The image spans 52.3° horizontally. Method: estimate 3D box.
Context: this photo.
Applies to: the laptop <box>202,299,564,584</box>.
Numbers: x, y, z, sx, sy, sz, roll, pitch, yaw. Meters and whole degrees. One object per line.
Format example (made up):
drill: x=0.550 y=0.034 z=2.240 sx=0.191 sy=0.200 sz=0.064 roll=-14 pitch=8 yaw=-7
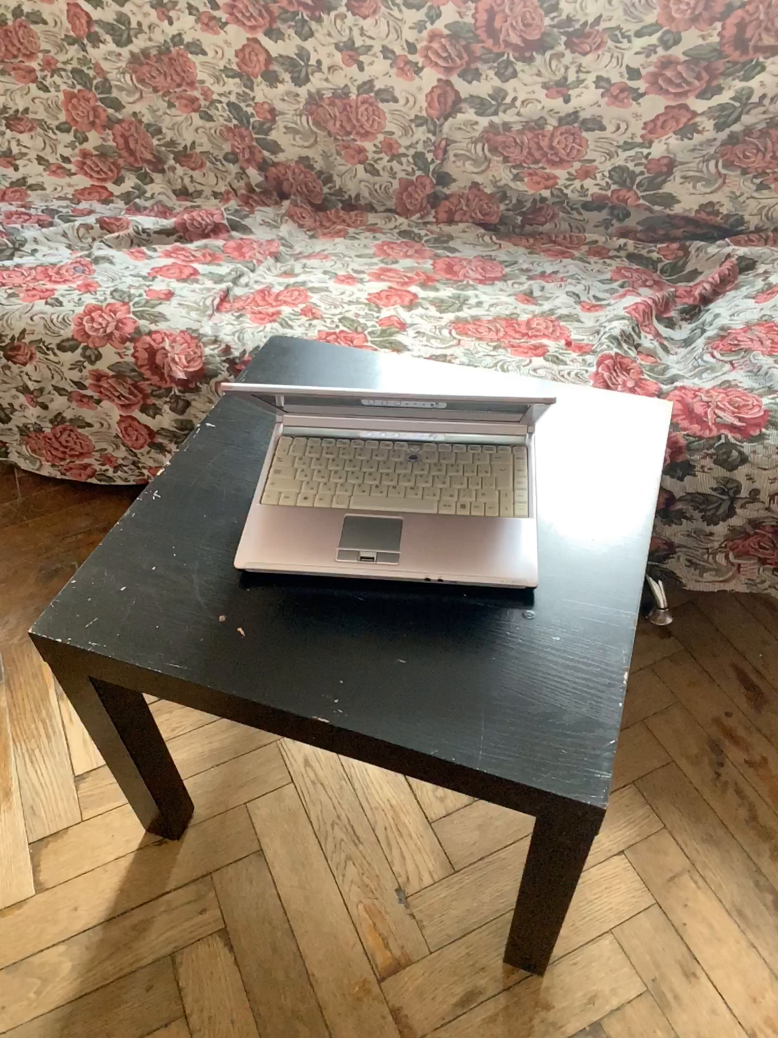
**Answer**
laptop: x=0.004 y=-0.084 z=0.793 sx=0.305 sy=0.156 sz=0.227 roll=3 pitch=46 yaw=5
